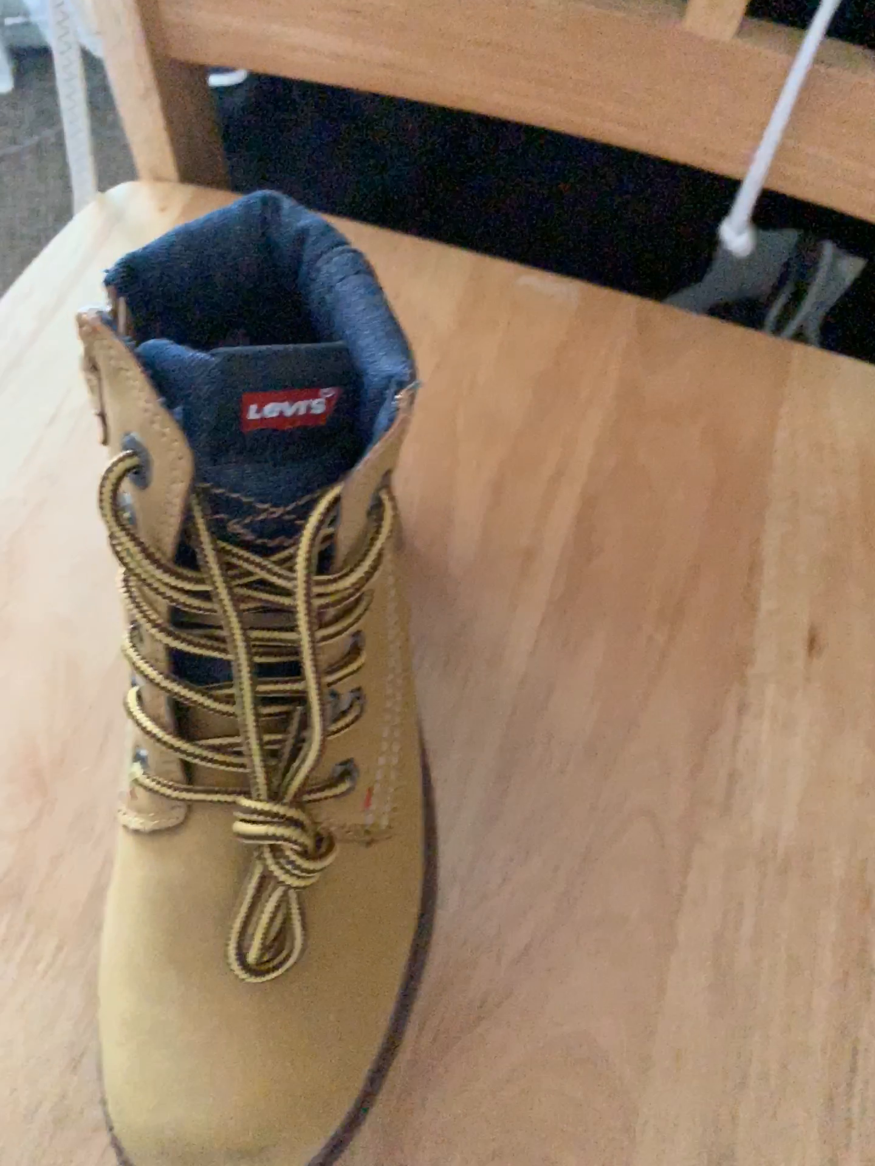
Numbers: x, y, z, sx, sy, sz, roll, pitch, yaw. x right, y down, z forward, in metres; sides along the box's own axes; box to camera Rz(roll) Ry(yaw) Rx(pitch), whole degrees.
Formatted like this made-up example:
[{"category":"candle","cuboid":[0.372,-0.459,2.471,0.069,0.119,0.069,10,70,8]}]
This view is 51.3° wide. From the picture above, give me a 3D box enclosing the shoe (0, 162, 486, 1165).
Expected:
[{"category":"shoe","cuboid":[-0.047,0.039,0.226,0.100,0.139,0.231,3,66,1]}]
